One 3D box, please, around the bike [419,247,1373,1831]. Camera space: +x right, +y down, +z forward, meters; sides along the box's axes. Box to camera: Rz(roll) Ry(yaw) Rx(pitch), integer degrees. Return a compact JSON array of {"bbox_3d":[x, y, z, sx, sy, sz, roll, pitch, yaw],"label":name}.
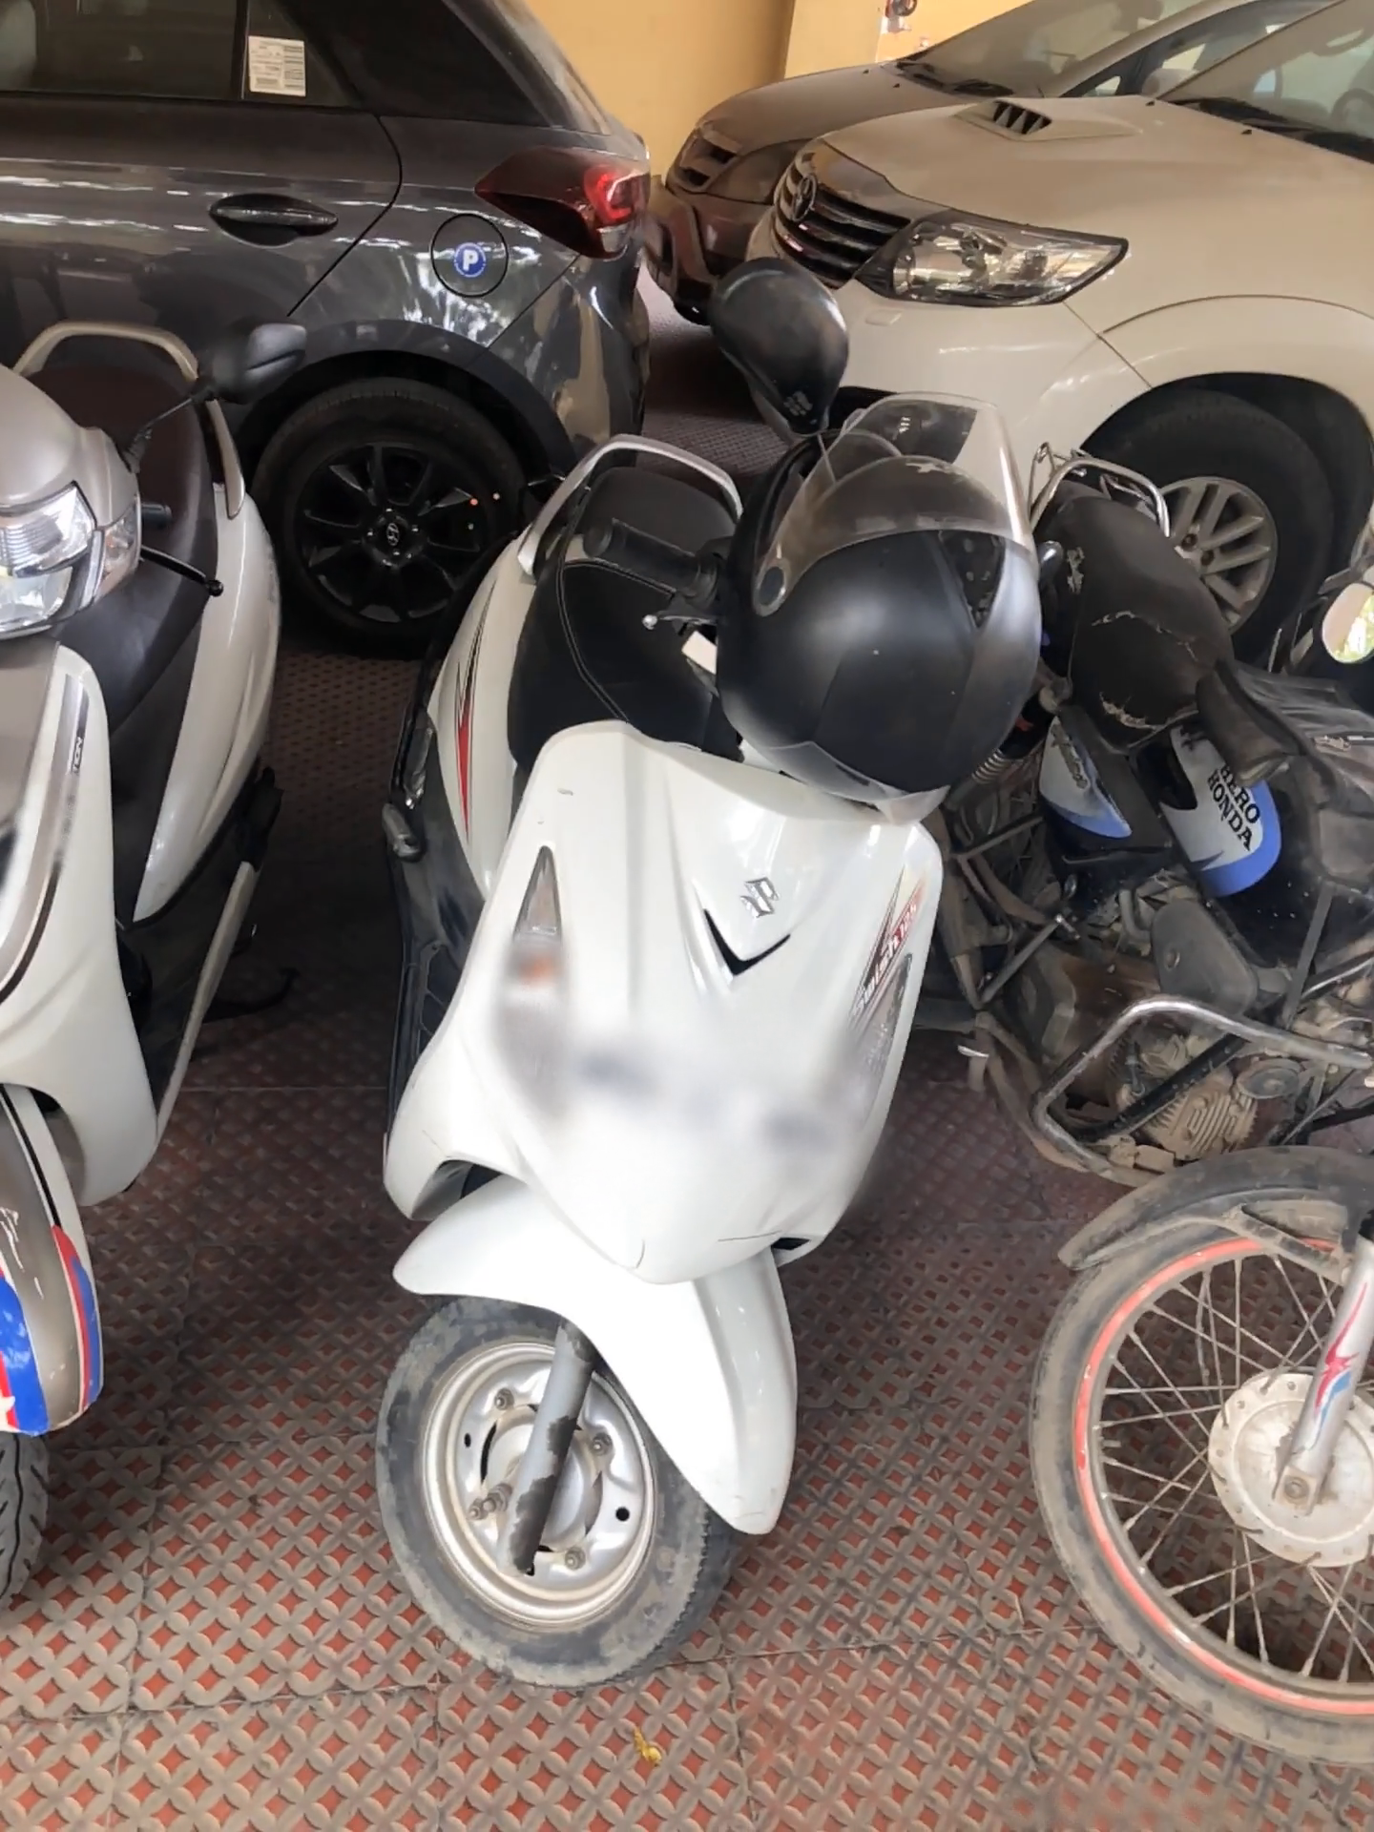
[{"bbox_3d":[0.156,0.031,1.902,0.832,0.941,1.515,-1,43,-15],"label":"bike"}]
